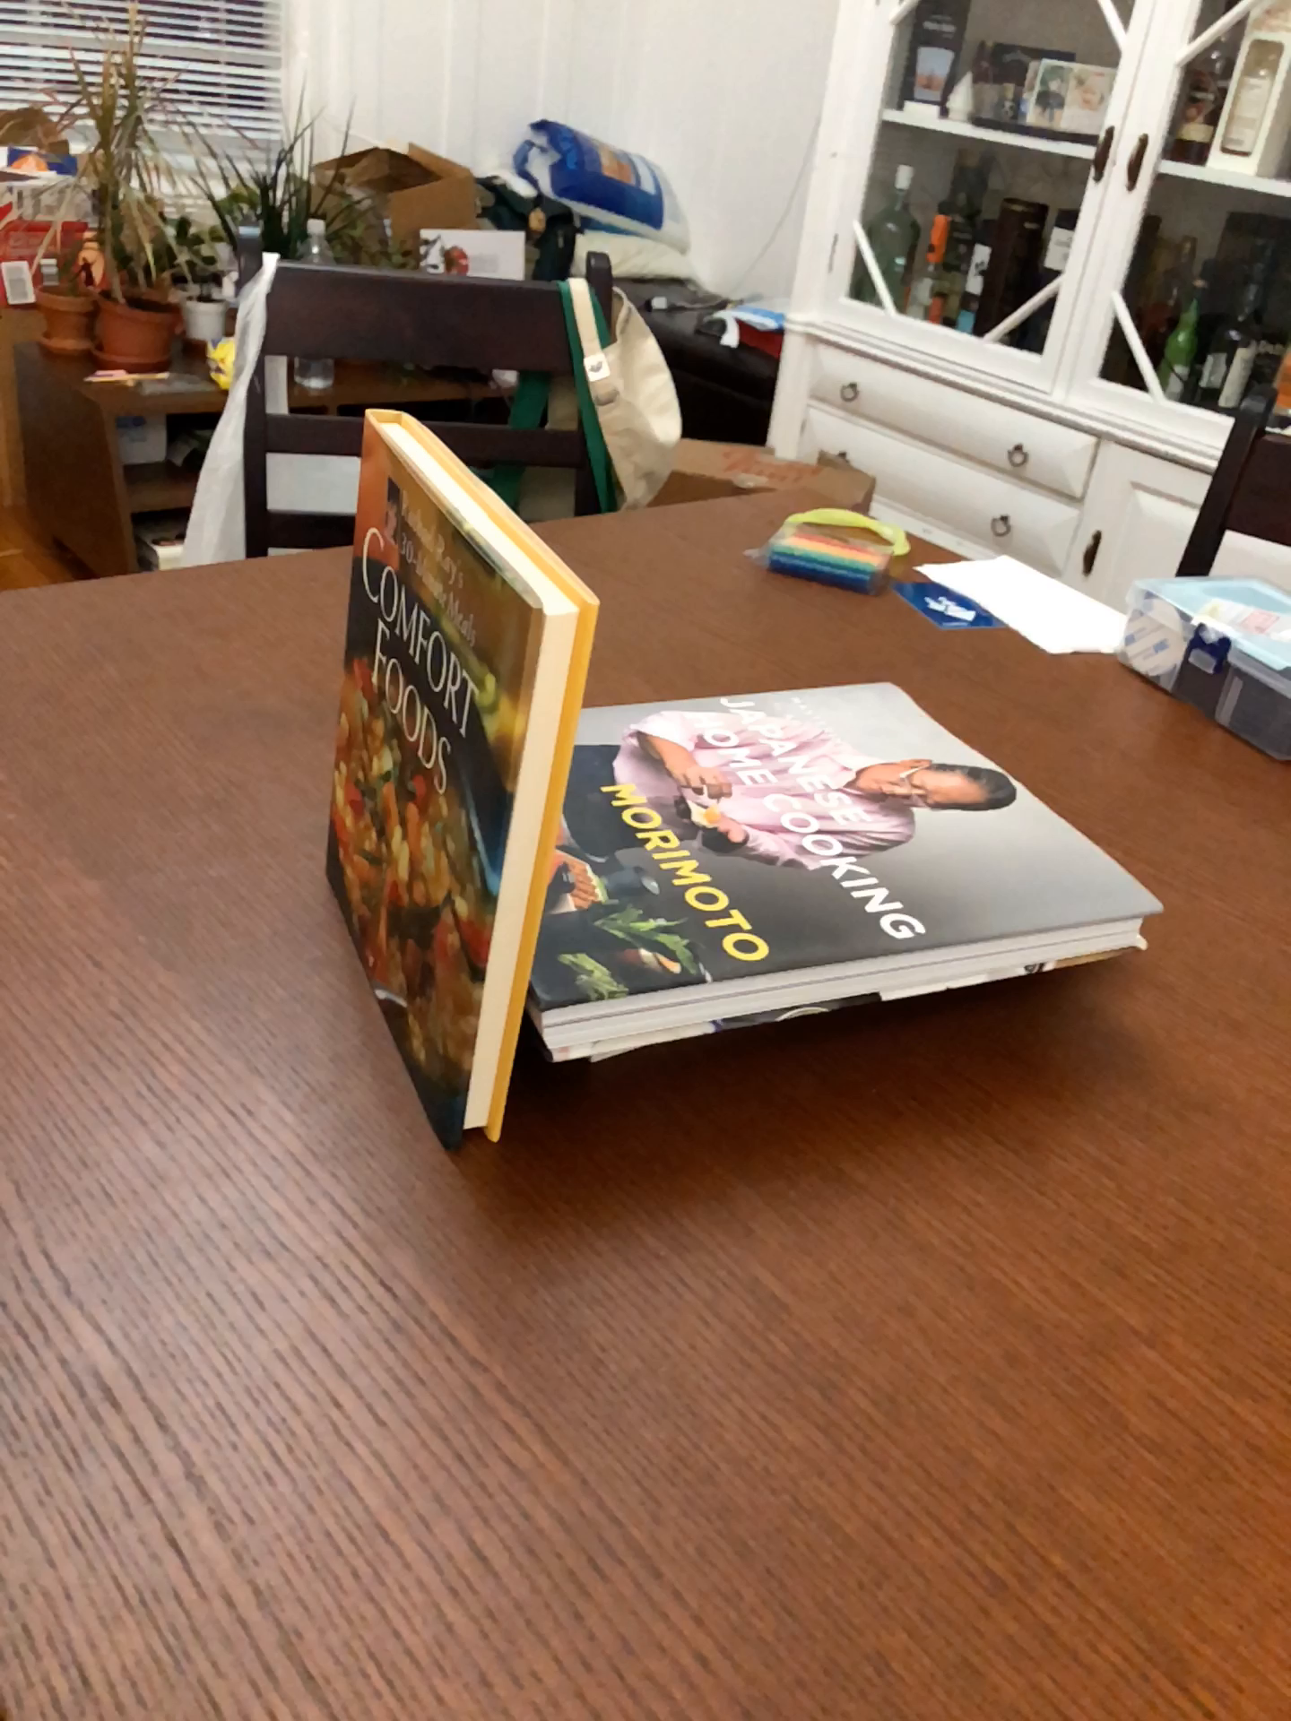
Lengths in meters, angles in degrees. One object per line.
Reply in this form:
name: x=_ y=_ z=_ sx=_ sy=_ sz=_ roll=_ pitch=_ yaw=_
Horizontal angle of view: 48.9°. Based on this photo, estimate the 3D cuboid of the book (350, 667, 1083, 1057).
book: x=0.031 y=-0.019 z=0.692 sx=0.281 sy=0.030 sz=0.221 roll=-14 pitch=37 yaw=-30

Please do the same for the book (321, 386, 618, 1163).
book: x=-0.079 y=-0.040 z=0.528 sx=0.030 sy=0.209 sz=0.211 roll=-4 pitch=33 yaw=-24

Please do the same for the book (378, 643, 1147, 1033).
book: x=0.049 y=-0.030 z=0.660 sx=0.281 sy=0.030 sz=0.221 roll=-12 pitch=36 yaw=-28

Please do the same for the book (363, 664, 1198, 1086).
book: x=0.047 y=-0.014 z=0.603 sx=0.280 sy=0.030 sz=0.221 roll=-9 pitch=34 yaw=-24
